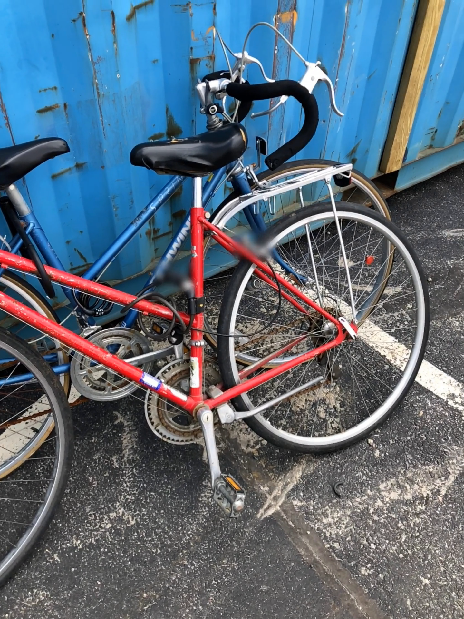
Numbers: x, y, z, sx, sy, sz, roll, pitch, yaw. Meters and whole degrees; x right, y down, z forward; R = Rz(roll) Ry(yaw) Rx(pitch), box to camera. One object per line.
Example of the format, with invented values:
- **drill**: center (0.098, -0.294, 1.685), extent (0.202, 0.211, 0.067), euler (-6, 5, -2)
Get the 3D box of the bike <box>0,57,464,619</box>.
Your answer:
- **bike**: center (-0.229, -0.013, 1.162), extent (1.644, 0.824, 0.484), euler (-20, 47, -26)
